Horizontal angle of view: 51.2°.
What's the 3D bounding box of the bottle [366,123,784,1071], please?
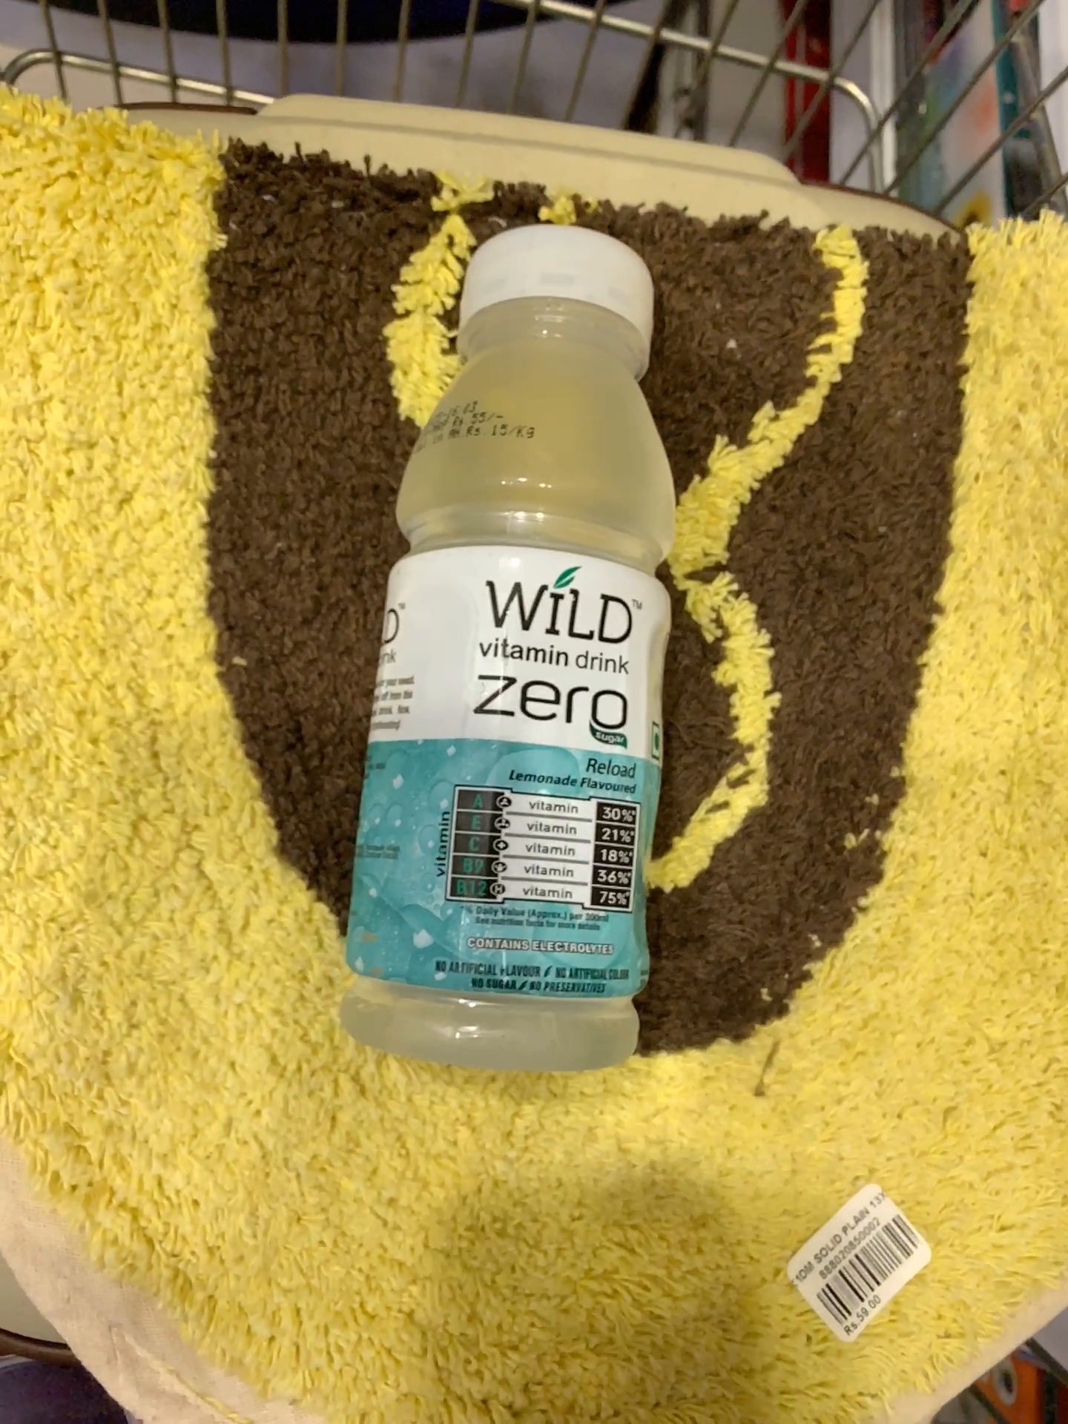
[{"bbox_3d":[0.008,-0.020,0.209,0.060,0.040,0.160,6,80,-8],"label":"bottle"}]
